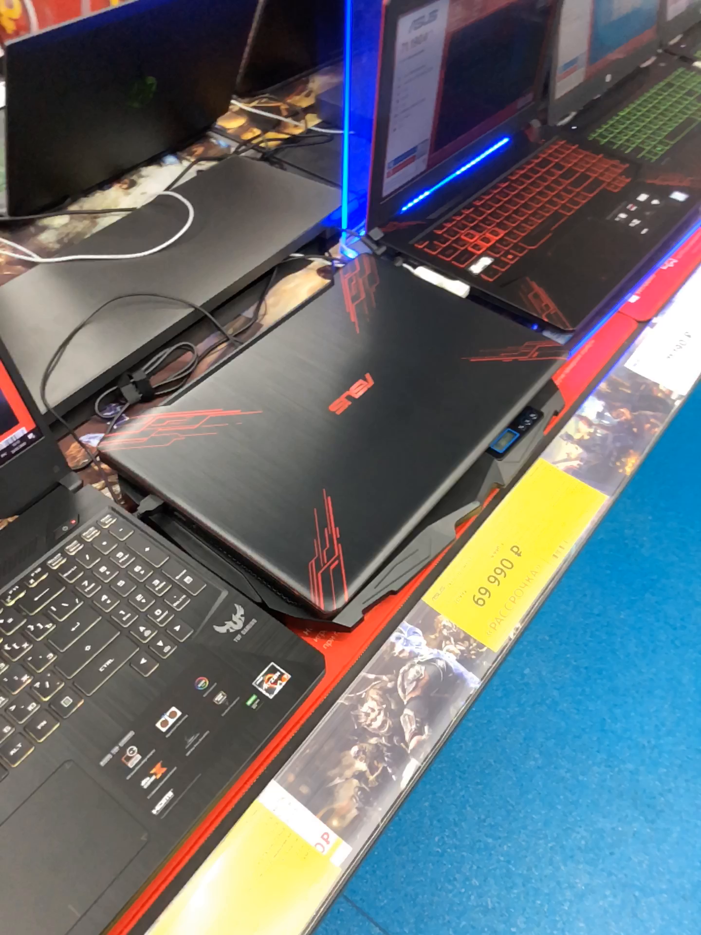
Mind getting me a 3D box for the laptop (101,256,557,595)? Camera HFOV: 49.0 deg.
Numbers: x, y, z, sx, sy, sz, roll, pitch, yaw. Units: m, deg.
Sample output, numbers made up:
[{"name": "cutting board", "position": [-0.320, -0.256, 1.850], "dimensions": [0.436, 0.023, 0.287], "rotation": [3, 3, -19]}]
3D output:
[{"name": "laptop", "position": [-0.006, -0.069, 0.702], "dimensions": [0.239, 0.003, 0.359], "rotation": [32, 55, 24]}]
